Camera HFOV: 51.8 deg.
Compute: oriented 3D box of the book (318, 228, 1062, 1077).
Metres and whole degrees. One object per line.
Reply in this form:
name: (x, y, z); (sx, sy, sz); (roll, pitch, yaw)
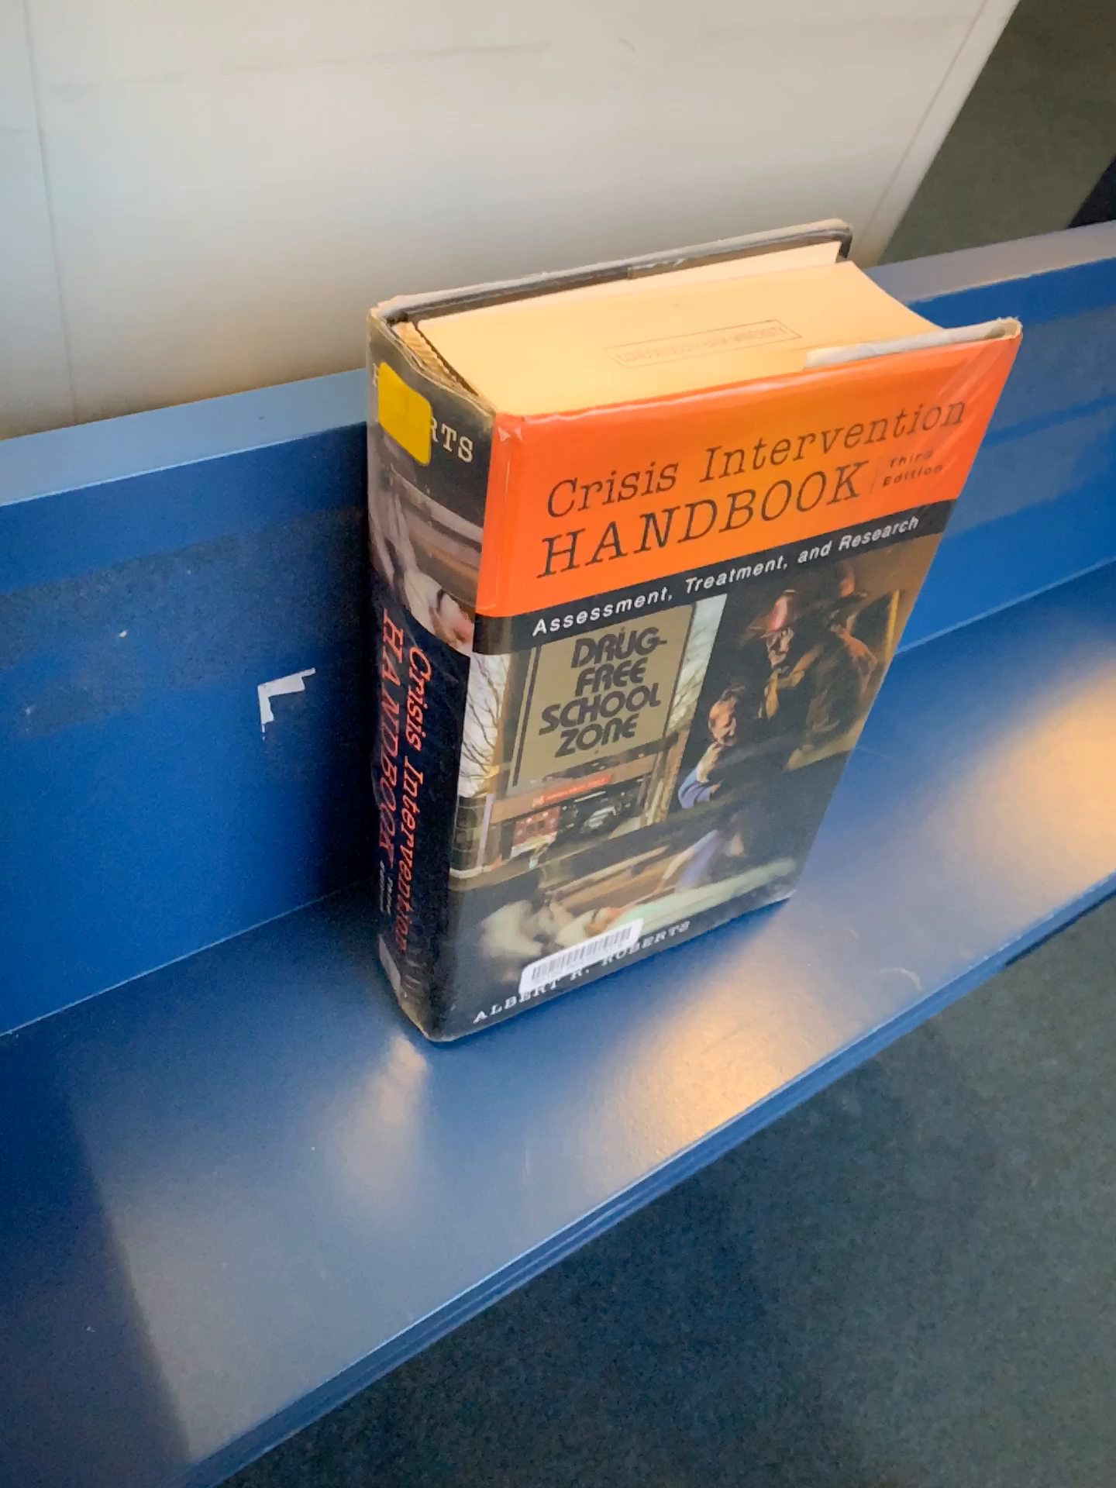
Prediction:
book: (0.026, -0.024, 0.375); (0.181, 0.238, 0.080); (-18, 49, -26)
